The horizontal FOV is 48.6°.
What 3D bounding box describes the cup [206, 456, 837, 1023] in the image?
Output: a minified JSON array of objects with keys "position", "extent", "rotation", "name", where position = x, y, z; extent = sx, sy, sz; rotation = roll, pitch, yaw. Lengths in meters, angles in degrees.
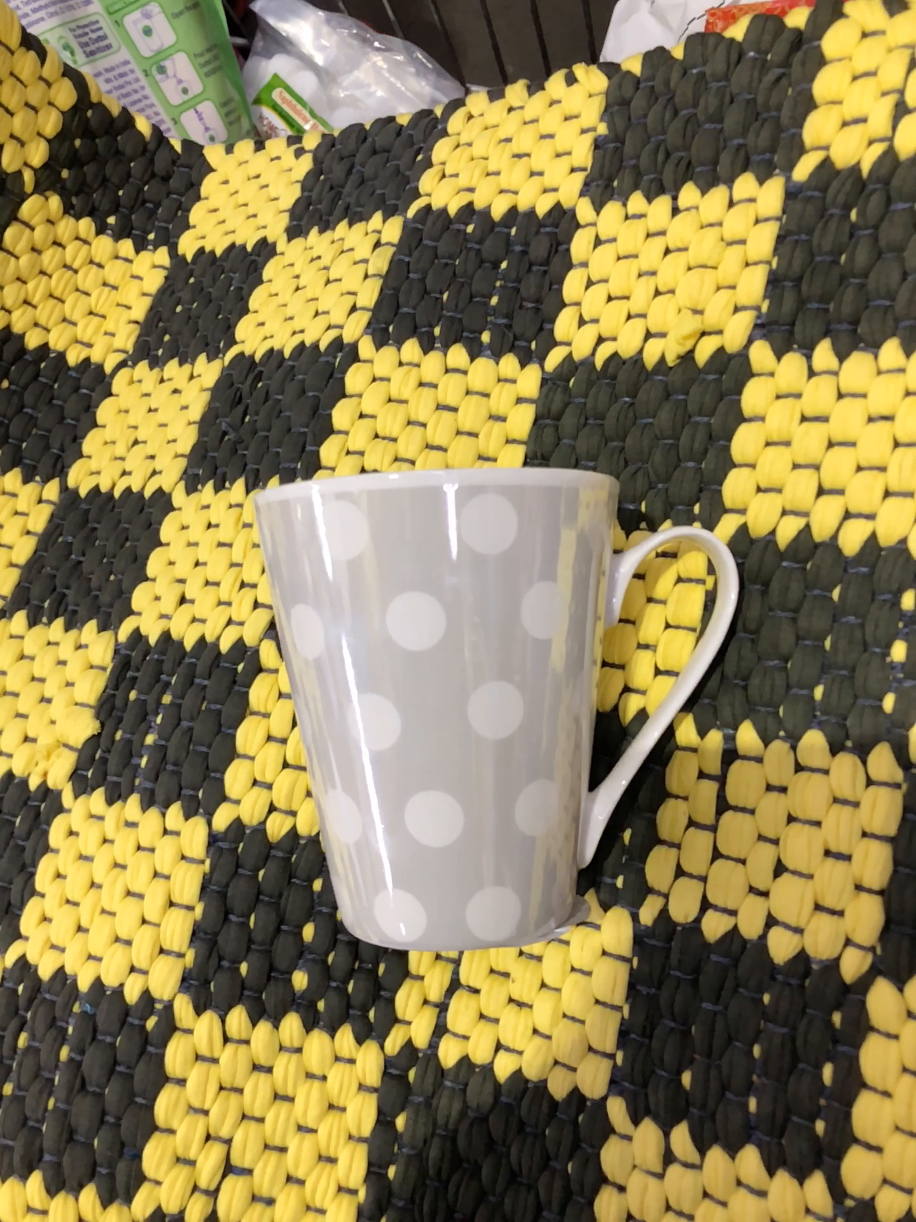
[{"position":[0.009,0.021,0.243],"extent":[0.120,0.090,0.100],"rotation":[-2,90,-21],"name":"cup"}]
